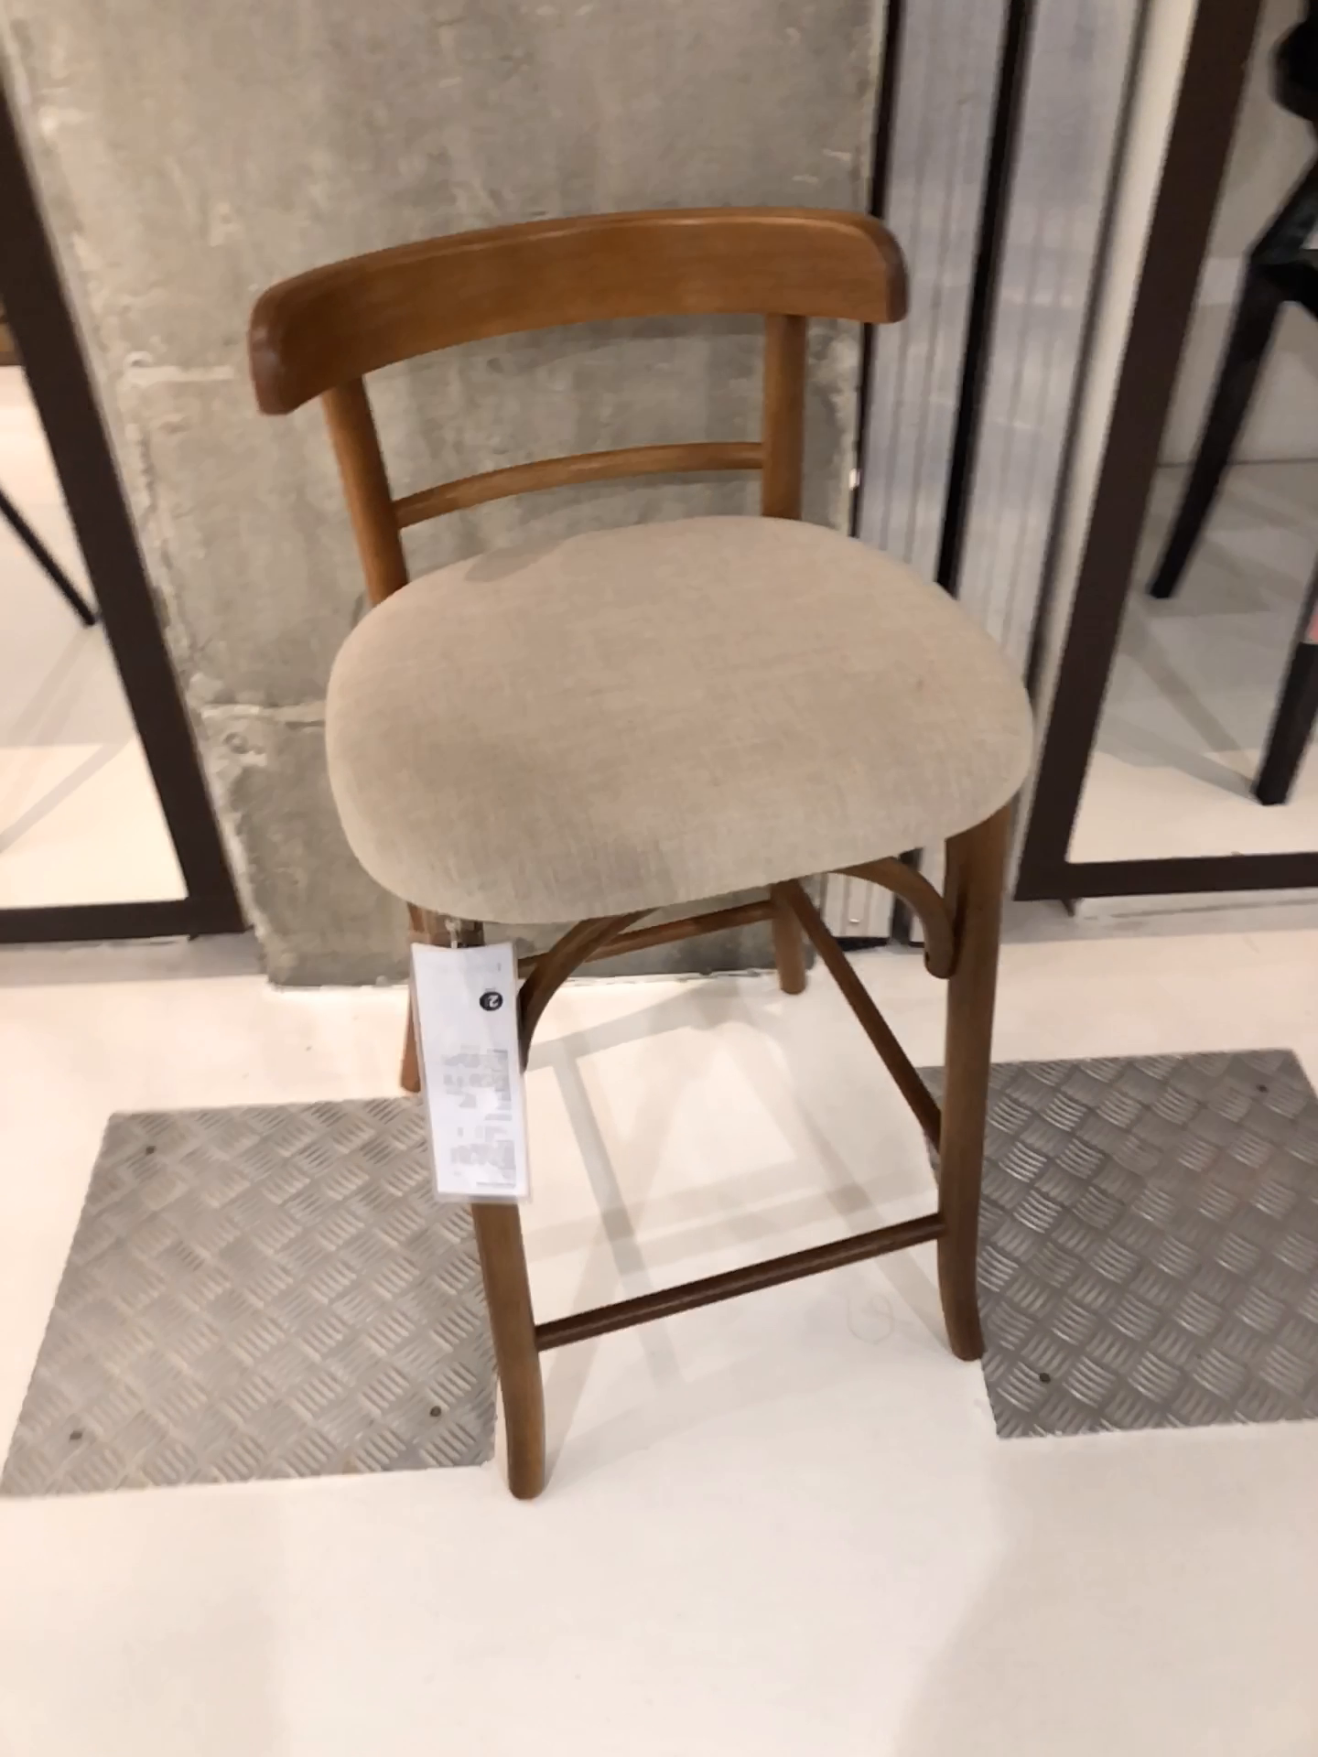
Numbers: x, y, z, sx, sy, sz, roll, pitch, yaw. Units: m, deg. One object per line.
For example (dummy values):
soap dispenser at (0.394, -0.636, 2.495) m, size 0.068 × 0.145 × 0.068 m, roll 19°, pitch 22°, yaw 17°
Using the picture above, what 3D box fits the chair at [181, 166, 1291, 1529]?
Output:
chair at (0.003, -0.009, 1.064) m, size 0.481 × 0.794 × 0.483 m, roll -13°, pitch 42°, yaw -13°
